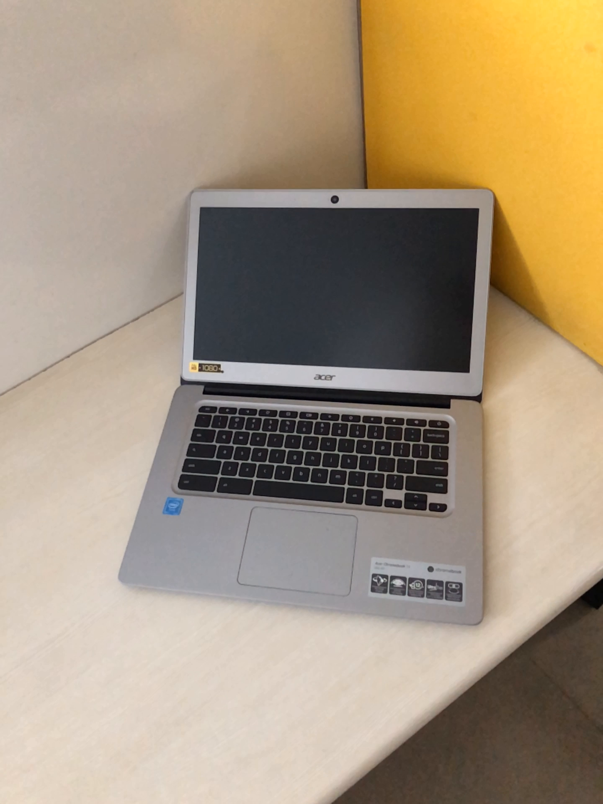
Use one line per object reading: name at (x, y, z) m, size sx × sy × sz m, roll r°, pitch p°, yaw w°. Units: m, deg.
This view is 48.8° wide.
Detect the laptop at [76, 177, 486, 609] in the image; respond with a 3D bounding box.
laptop at (0.012, -0.036, 0.663) m, size 0.319 × 0.123 × 0.411 m, roll 3°, pitch 58°, yaw 11°
